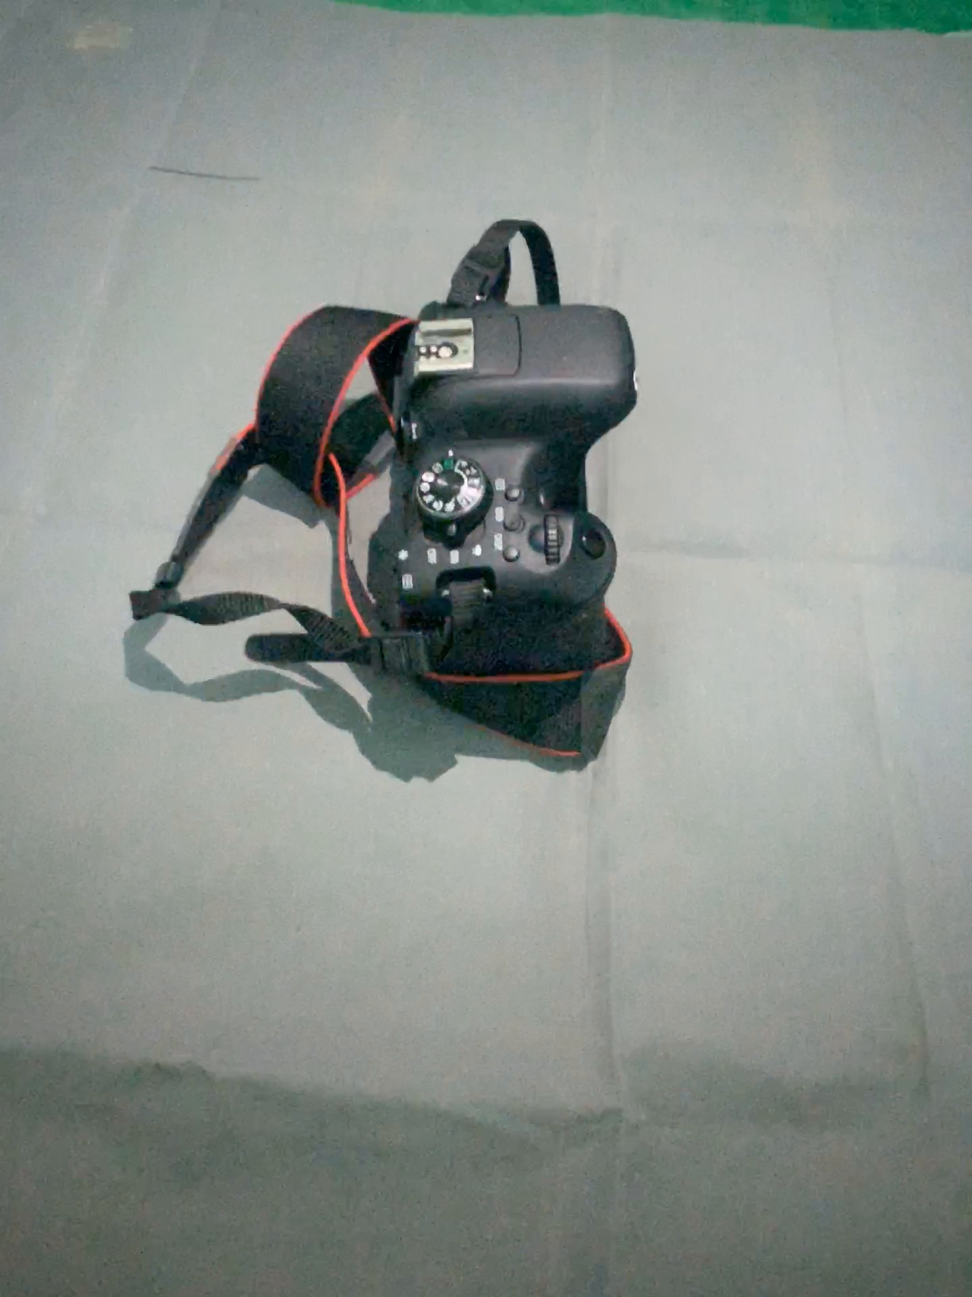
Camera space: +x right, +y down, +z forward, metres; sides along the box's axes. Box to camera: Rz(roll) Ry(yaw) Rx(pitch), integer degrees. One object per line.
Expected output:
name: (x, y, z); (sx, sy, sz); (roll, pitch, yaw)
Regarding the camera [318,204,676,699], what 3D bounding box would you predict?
camera: (0.001, -0.064, 0.323); (0.090, 0.088, 0.133); (1, 57, -2)
